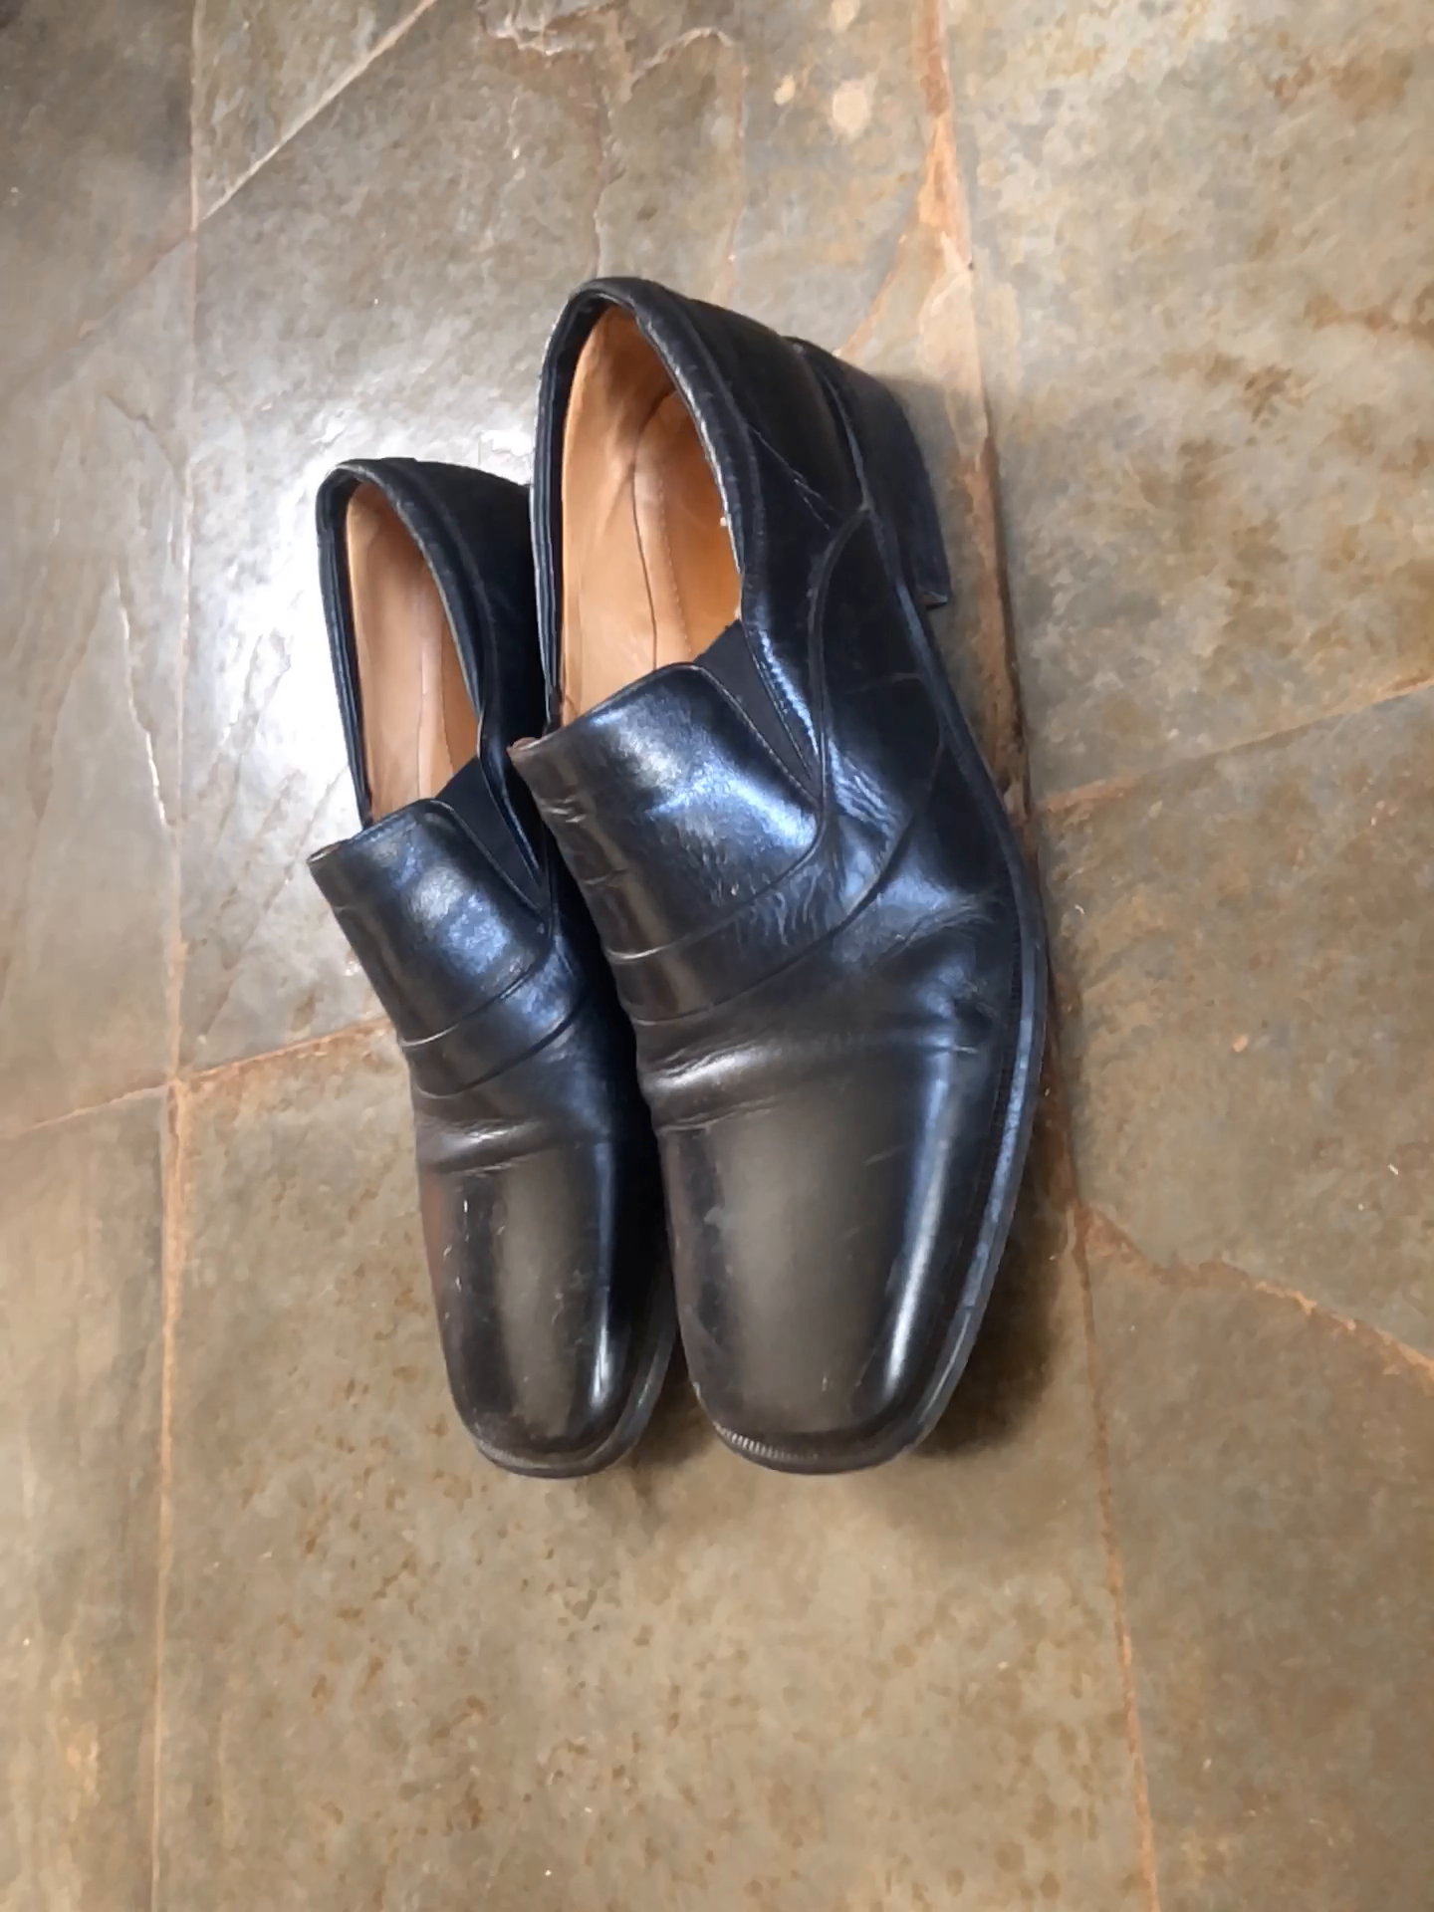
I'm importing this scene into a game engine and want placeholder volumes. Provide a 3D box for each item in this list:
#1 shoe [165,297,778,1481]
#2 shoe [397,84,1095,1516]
[{"bbox_3d":[-0.068,-0.010,0.435,0.110,0.110,0.280,-14,72,41],"label":"shoe"},{"bbox_3d":[0.003,-0.027,0.366,0.100,0.110,0.280,-14,72,41],"label":"shoe"}]
